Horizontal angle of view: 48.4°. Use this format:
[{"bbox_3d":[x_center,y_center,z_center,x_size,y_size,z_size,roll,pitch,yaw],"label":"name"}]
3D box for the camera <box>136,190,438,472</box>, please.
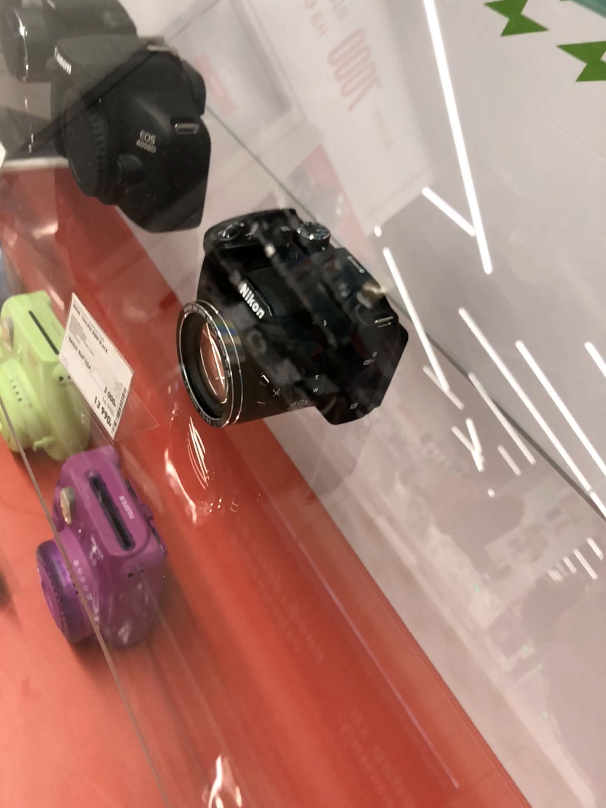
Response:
[{"bbox_3d":[-0.015,-0.044,0.344,0.100,0.070,0.115,-16,53,-29],"label":"camera"}]
